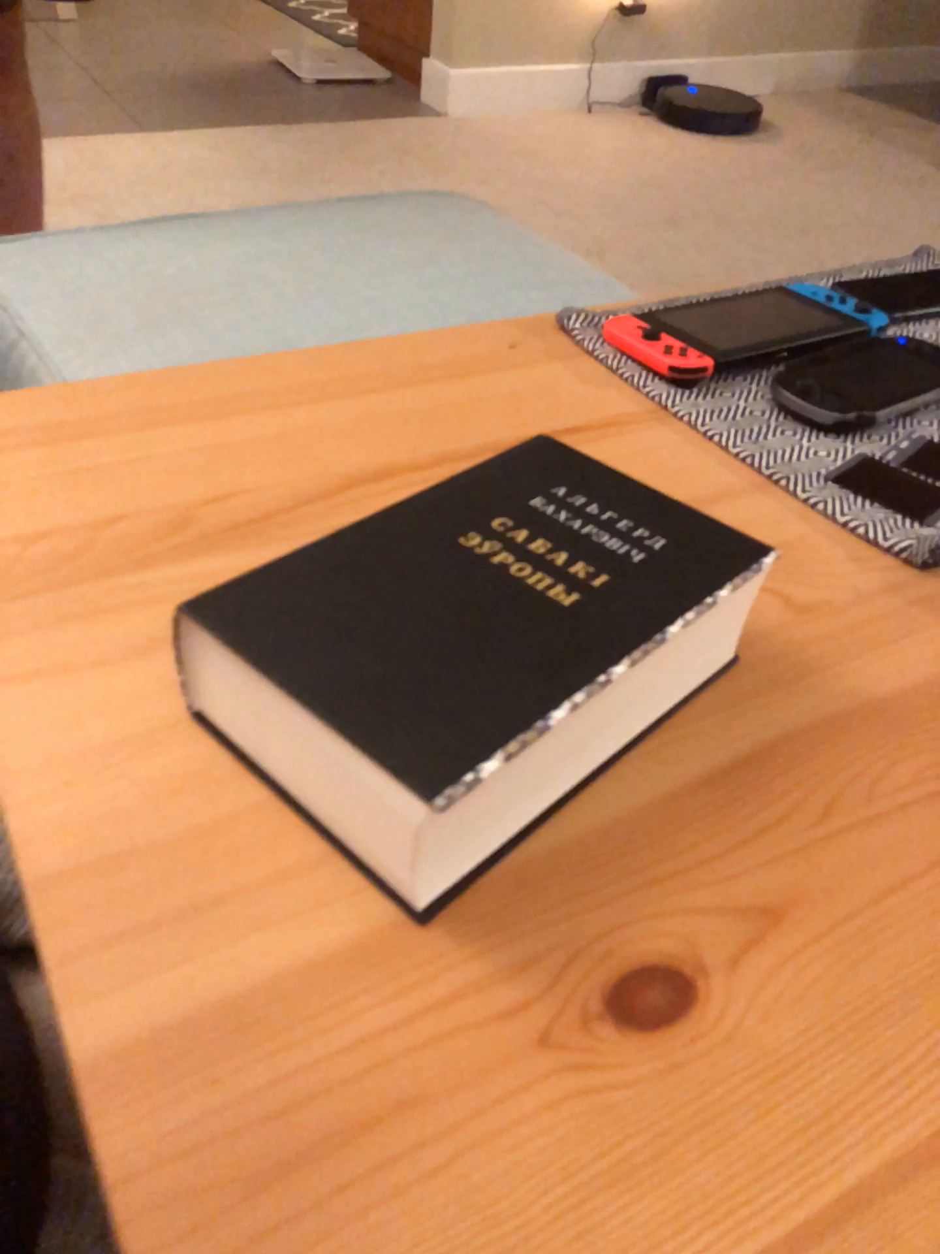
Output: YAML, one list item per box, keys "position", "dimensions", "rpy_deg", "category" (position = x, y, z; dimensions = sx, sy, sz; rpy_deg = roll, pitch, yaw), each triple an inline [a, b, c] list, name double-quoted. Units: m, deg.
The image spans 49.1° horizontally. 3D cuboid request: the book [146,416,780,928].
- position: [0.004, -0.002, 0.461]
  dimensions: [0.157, 0.061, 0.230]
  rpy_deg: [33, 48, 31]
  category: "book"
